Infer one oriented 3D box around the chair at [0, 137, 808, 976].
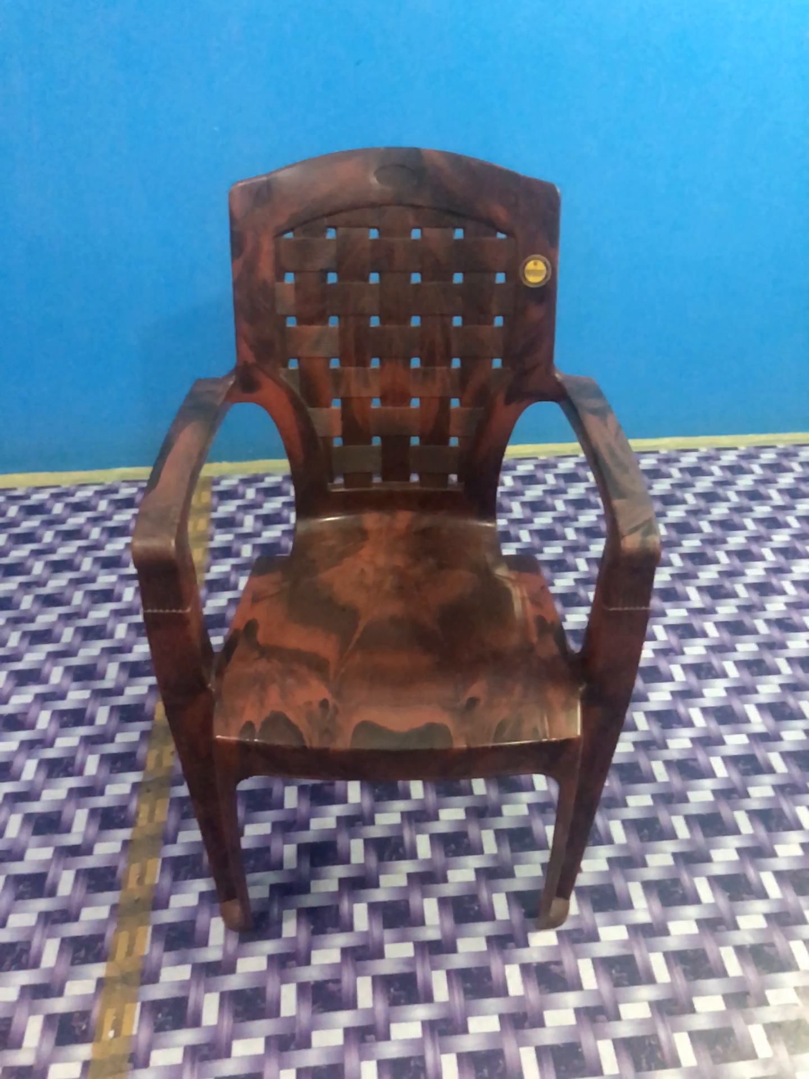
[{"bbox_3d":[-0.008,0.034,1.098,0.590,0.845,0.593,0,38,-1],"label":"chair"}]
